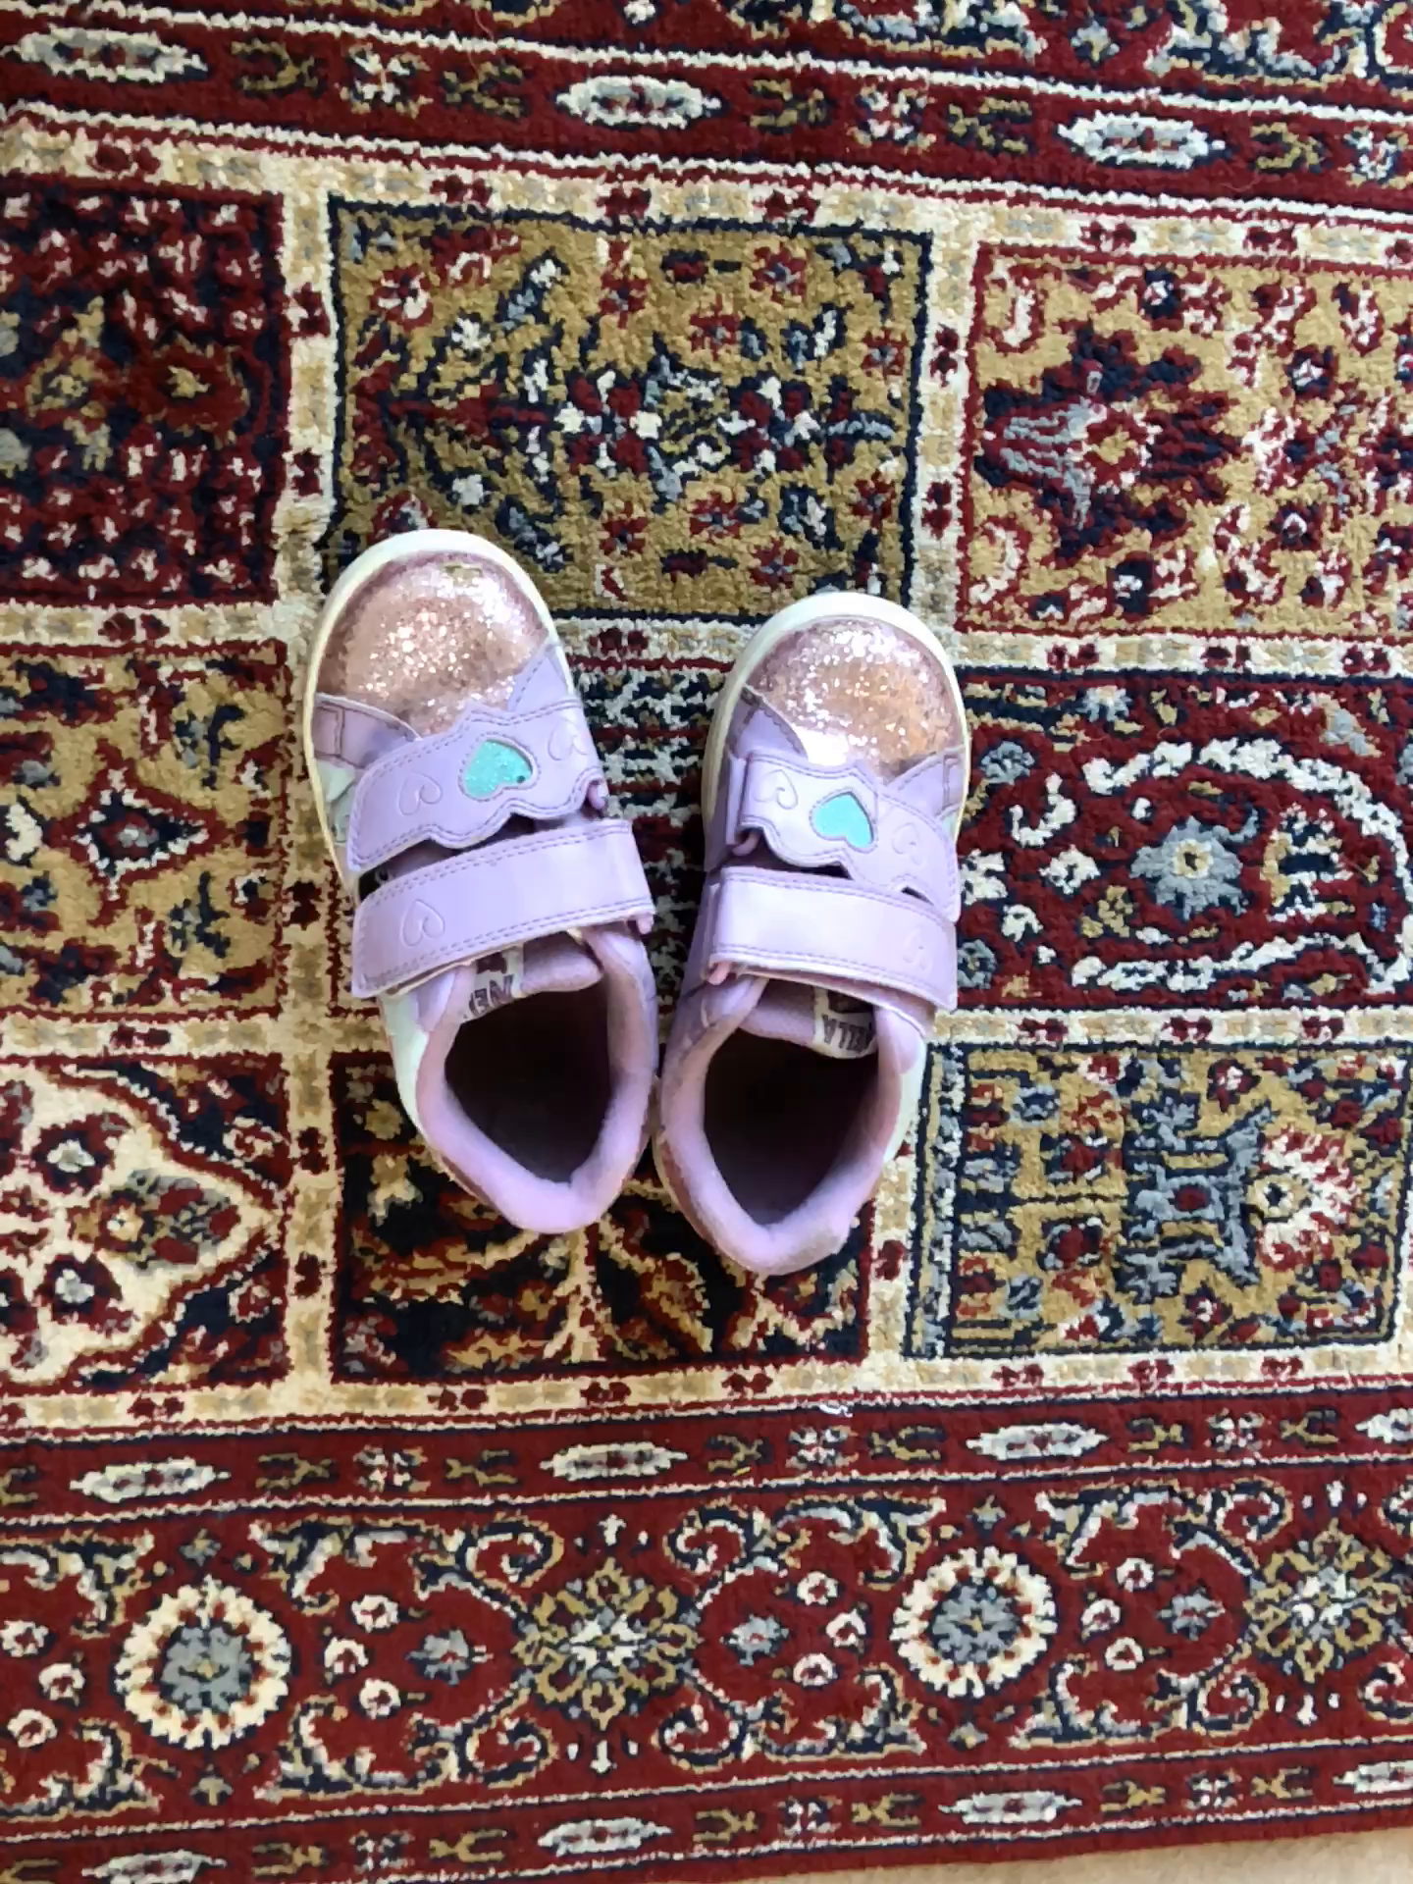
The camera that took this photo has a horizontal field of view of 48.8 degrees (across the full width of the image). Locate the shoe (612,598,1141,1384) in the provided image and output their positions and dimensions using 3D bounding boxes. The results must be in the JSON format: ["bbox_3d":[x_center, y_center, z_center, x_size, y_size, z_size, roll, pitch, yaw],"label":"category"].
[{"bbox_3d":[0.040,0.010,0.452,0.100,0.090,0.200,8,100,-9],"label":"shoe"}]

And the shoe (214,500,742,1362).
[{"bbox_3d":[-0.059,-0.006,0.439,0.090,0.090,0.208,-12,103,-5],"label":"shoe"}]
